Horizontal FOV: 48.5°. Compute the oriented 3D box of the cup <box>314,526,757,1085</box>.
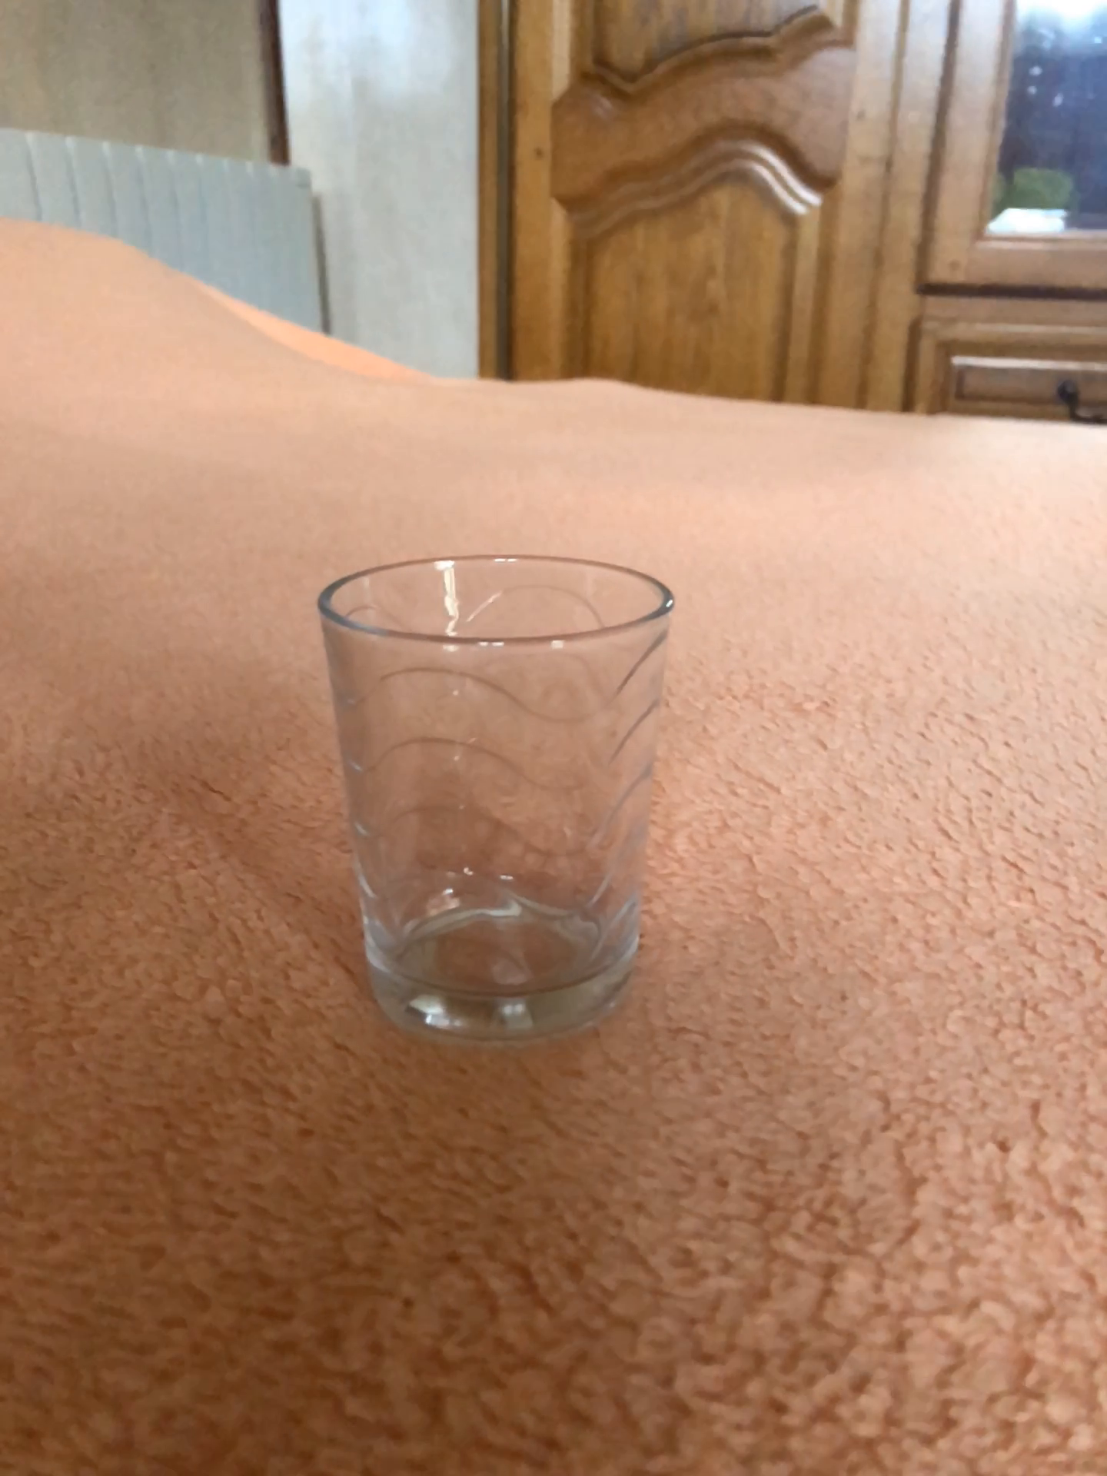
[{"bbox_3d":[-0.006,0.007,0.231,0.060,0.080,0.060,0,20,0],"label":"cup"}]
